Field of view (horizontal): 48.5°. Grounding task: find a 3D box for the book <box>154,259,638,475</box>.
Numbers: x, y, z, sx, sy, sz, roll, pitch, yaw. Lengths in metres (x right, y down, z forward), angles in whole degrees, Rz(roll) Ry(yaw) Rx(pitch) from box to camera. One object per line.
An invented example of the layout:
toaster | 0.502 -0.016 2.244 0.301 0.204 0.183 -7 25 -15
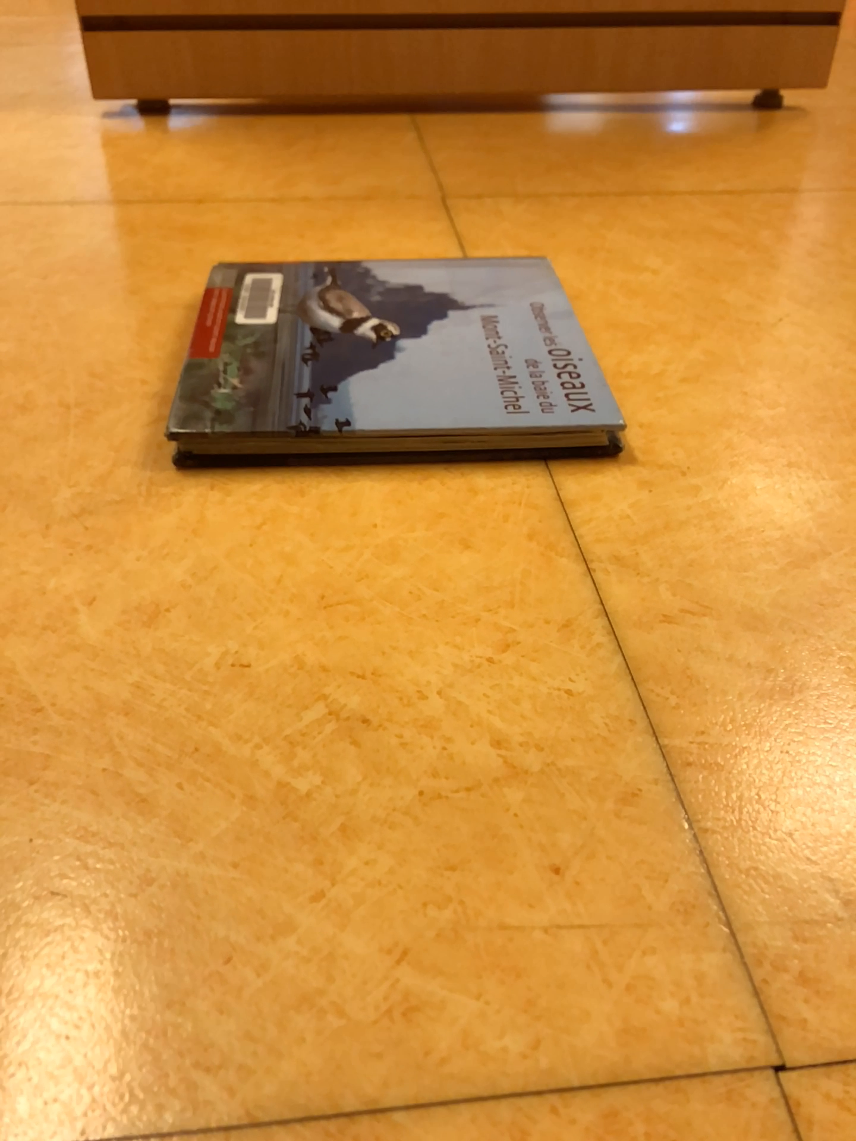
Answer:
book | -0.014 -0.086 0.370 0.156 0.015 0.154 -2 38 -4
